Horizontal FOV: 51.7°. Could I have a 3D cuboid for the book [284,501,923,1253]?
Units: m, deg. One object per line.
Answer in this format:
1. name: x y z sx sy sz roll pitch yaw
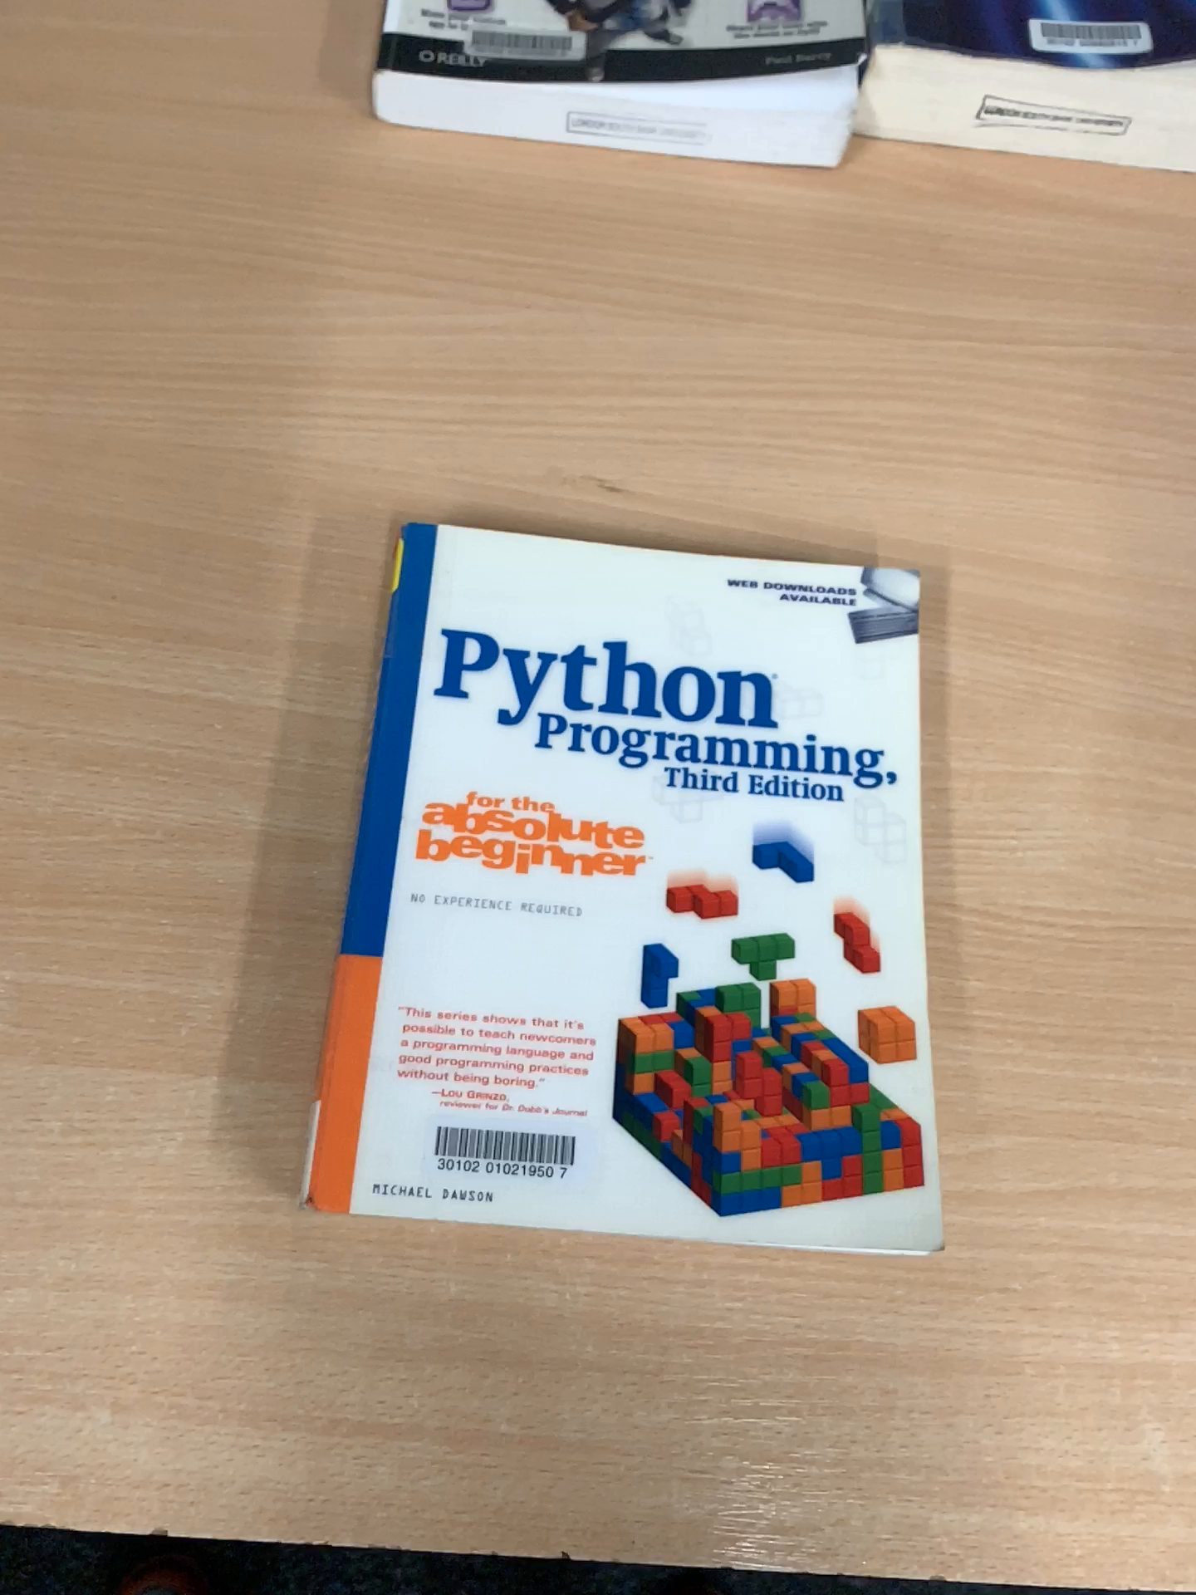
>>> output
1. book: 0.009 0.020 0.389 0.174 0.039 0.219 5 71 -2
